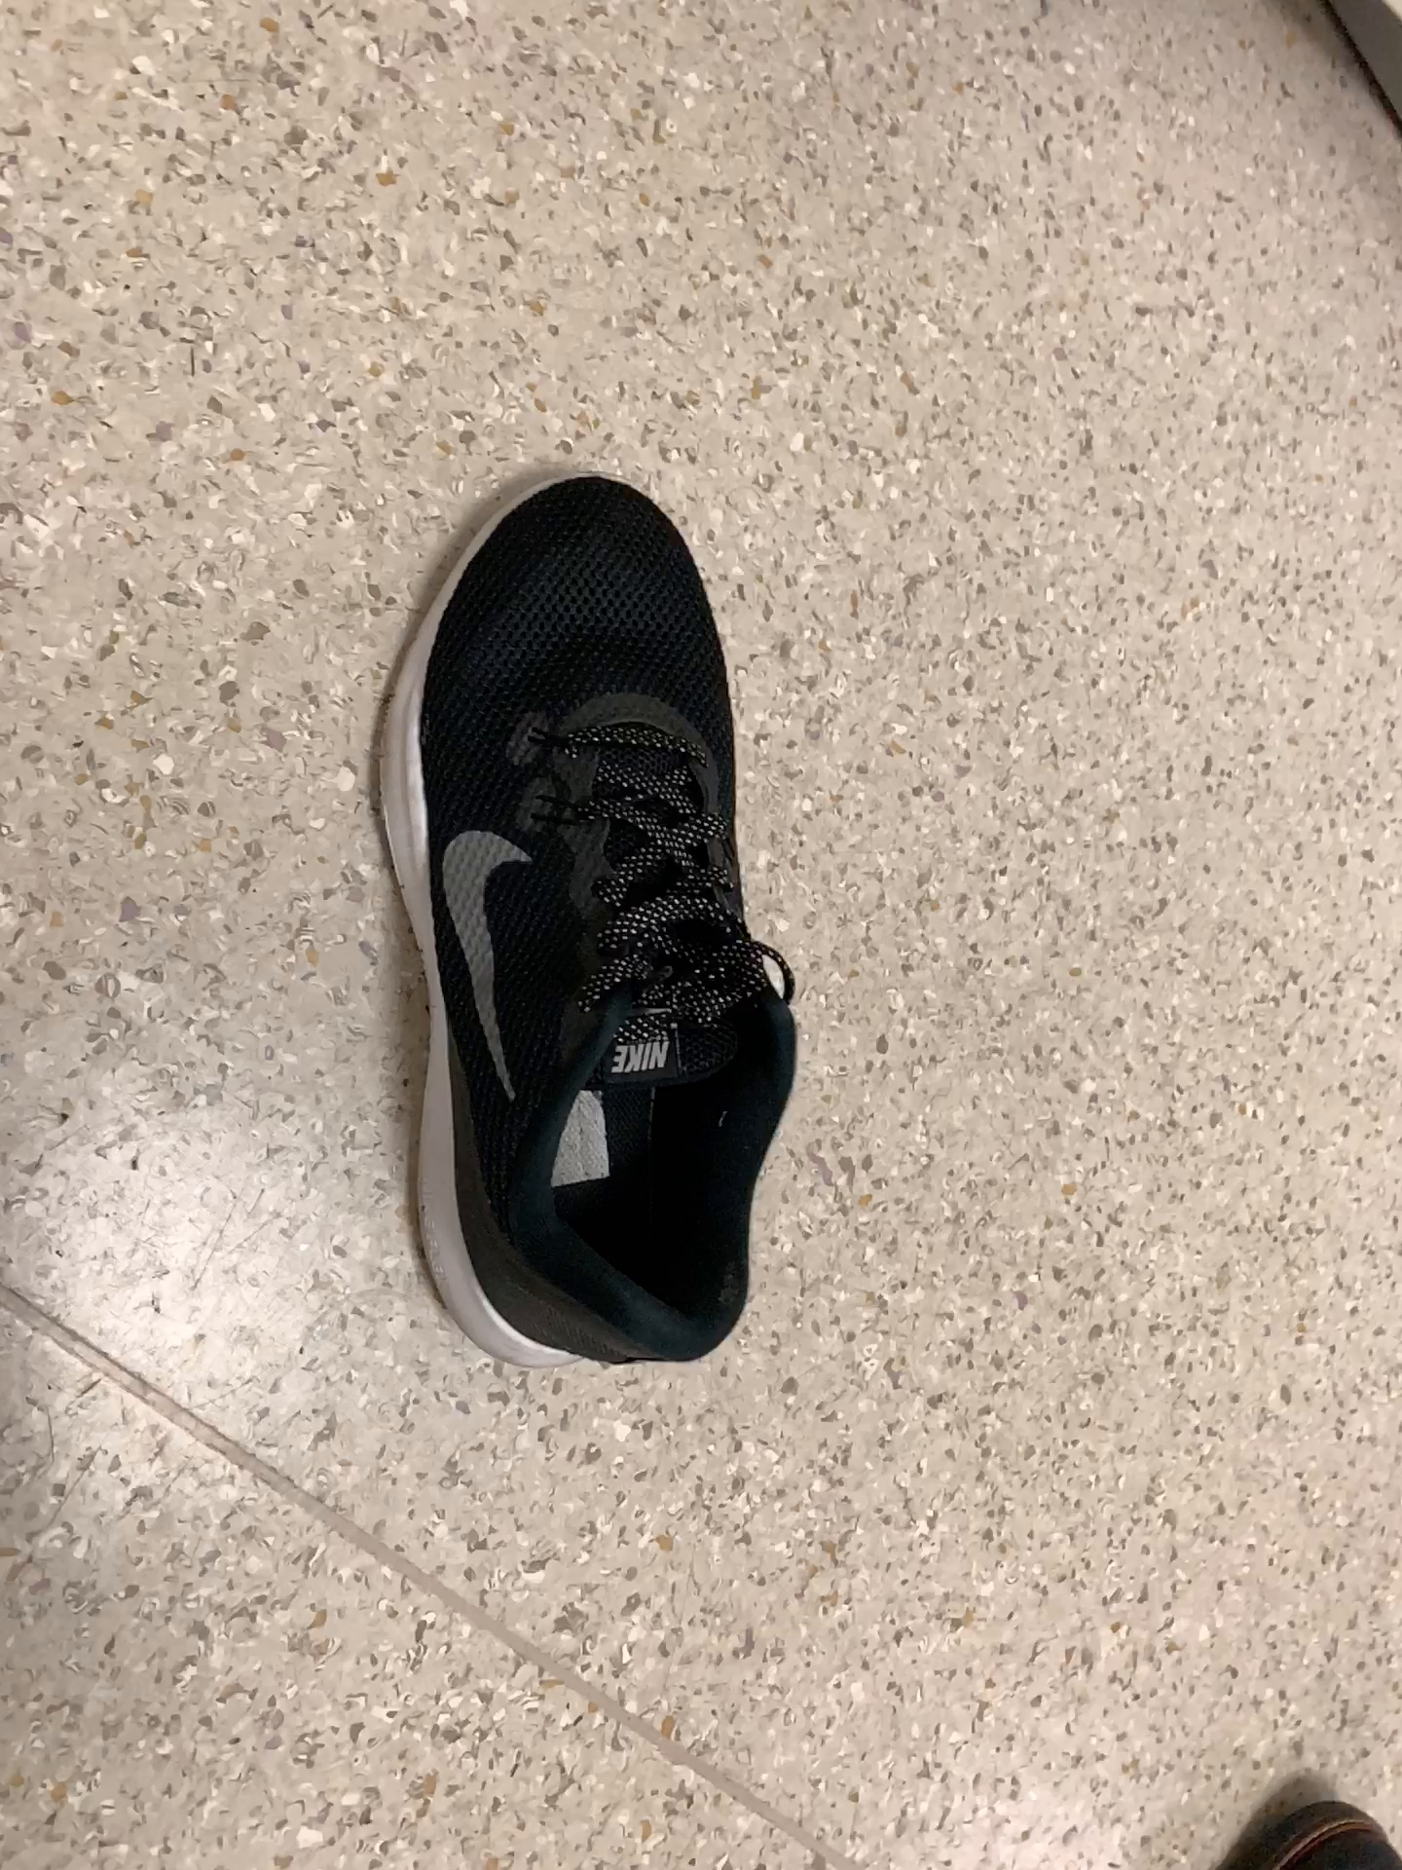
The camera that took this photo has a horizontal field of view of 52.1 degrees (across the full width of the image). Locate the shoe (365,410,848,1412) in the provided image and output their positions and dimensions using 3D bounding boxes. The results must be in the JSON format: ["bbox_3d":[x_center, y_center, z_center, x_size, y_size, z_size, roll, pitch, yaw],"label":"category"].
[{"bbox_3d":[-0.031,-0.005,0.429,0.114,0.093,0.252,1,87,-29],"label":"shoe"}]
